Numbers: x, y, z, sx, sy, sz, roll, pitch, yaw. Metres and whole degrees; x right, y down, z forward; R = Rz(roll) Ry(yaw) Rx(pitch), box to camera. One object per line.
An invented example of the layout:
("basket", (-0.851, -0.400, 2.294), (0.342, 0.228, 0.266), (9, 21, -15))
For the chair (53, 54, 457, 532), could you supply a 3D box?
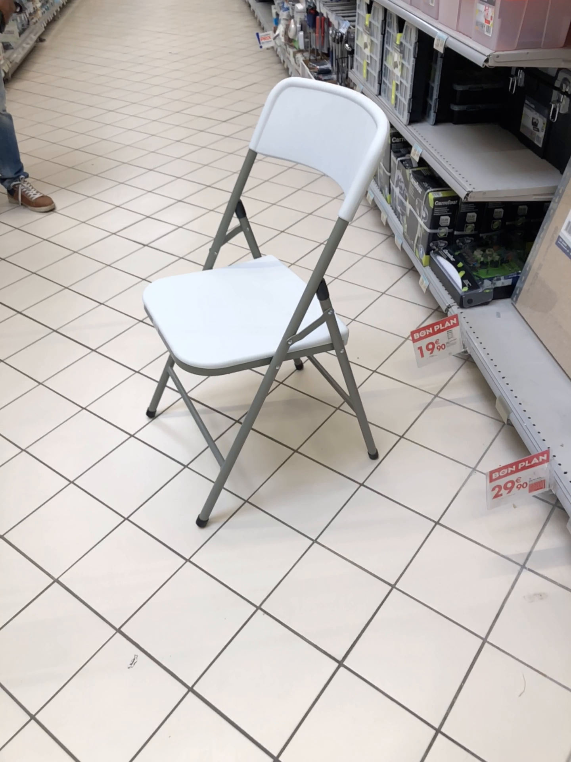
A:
("chair", (-0.073, -0.210, 1.357), (0.561, 0.746, 0.542), (-18, 41, -18))
